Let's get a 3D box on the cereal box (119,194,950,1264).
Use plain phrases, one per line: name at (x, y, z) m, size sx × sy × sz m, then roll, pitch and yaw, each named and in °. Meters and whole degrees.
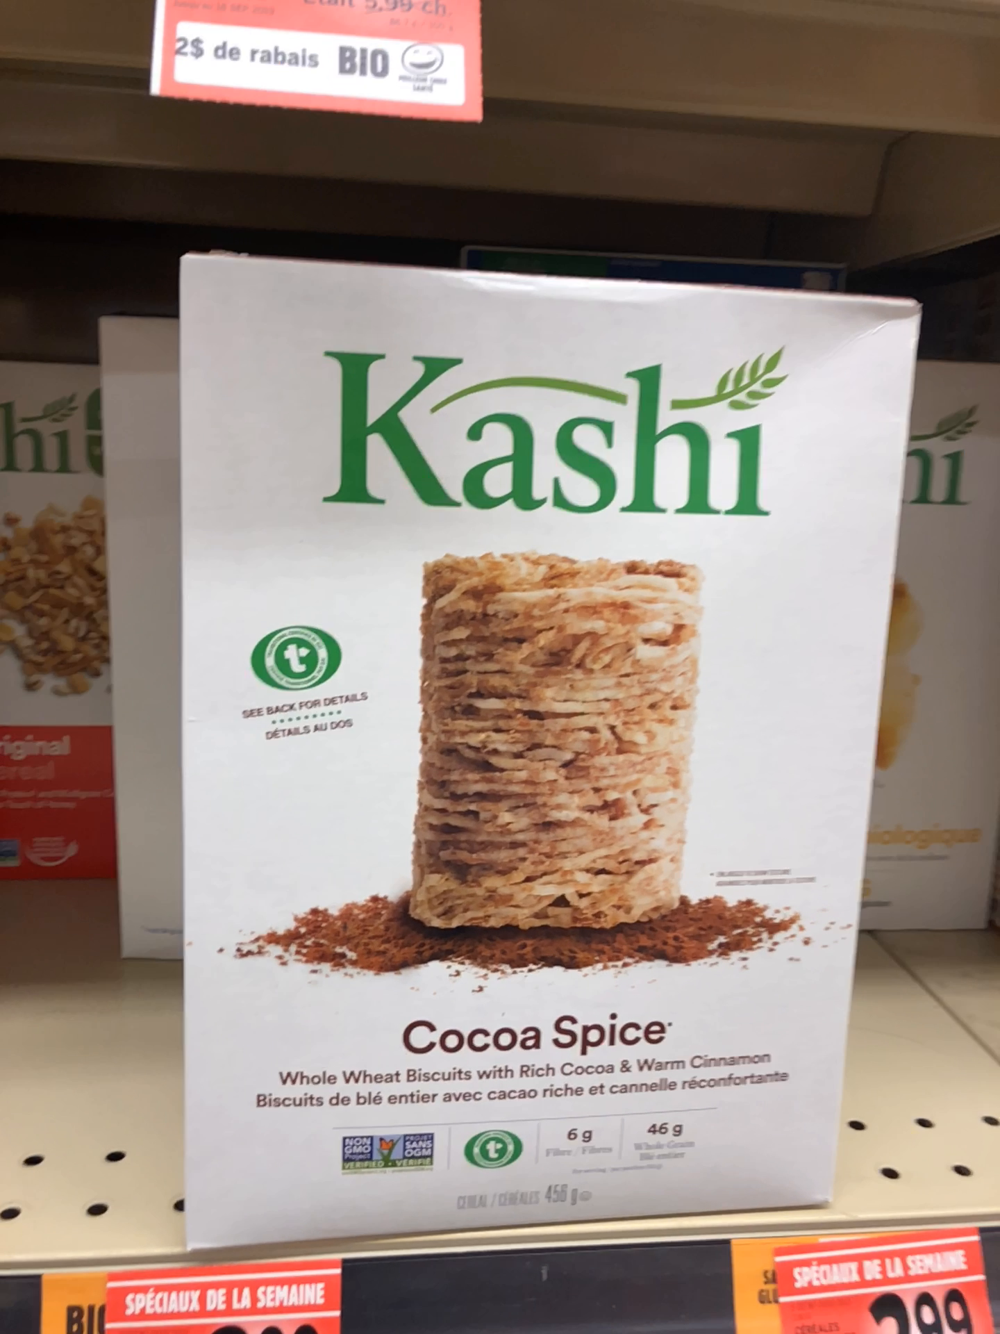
cereal box at (0.005, 0.022, 0.327) m, size 0.210 × 0.279 × 0.060 m, roll 0°, pitch 10°, yaw -9°
